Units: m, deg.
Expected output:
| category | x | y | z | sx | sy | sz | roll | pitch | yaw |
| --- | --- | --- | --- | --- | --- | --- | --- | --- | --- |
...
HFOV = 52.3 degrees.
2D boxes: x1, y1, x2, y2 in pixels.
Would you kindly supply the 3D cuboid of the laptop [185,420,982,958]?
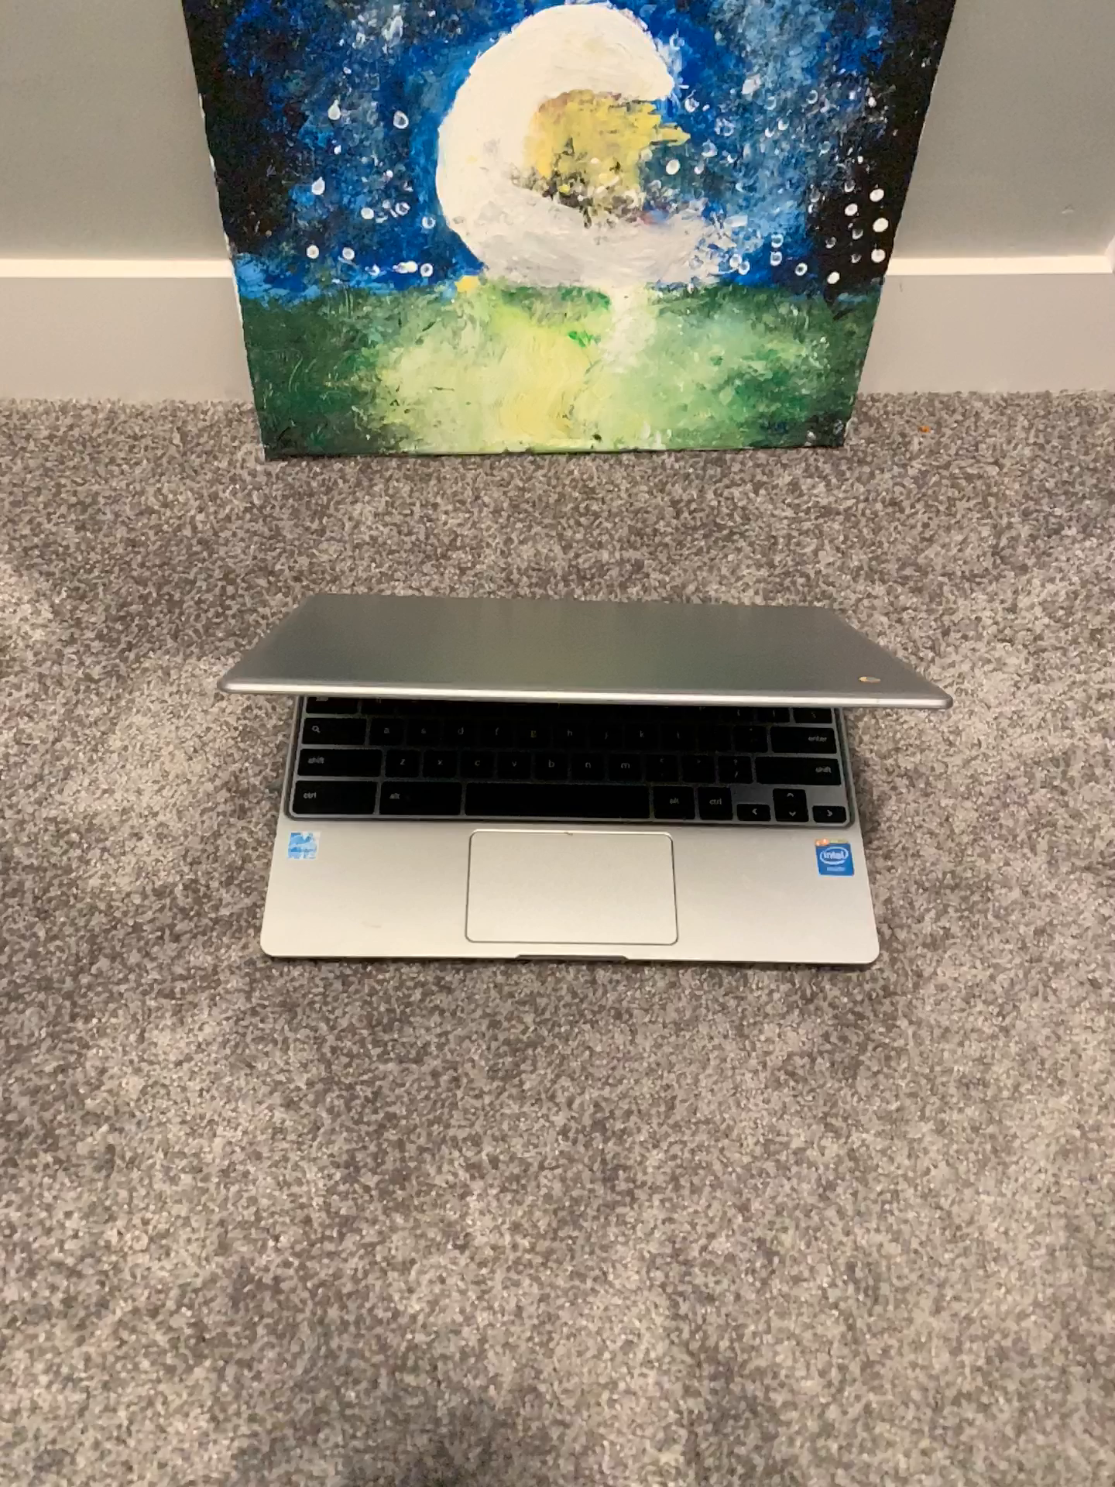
| category | x | y | z | sx | sy | sz | roll | pitch | yaw |
| --- | --- | --- | --- | --- | --- | --- | --- | --- | --- |
| laptop | 0.009 | -0.021 | 0.531 | 0.294 | 0.144 | 0.200 | 1 | 60 | -2 |
